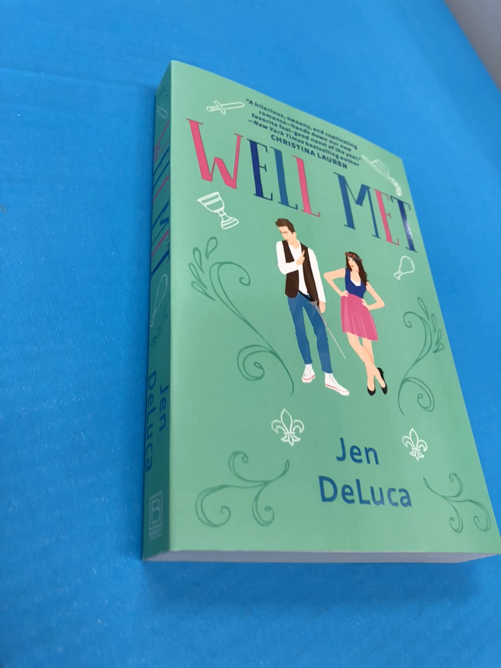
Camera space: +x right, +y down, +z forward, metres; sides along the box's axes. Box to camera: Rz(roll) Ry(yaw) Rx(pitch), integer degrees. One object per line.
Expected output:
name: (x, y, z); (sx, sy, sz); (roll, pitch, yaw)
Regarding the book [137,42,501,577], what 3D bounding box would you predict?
book: (0.030, -0.014, 0.243); (0.146, 0.030, 0.216); (13, 57, -28)
